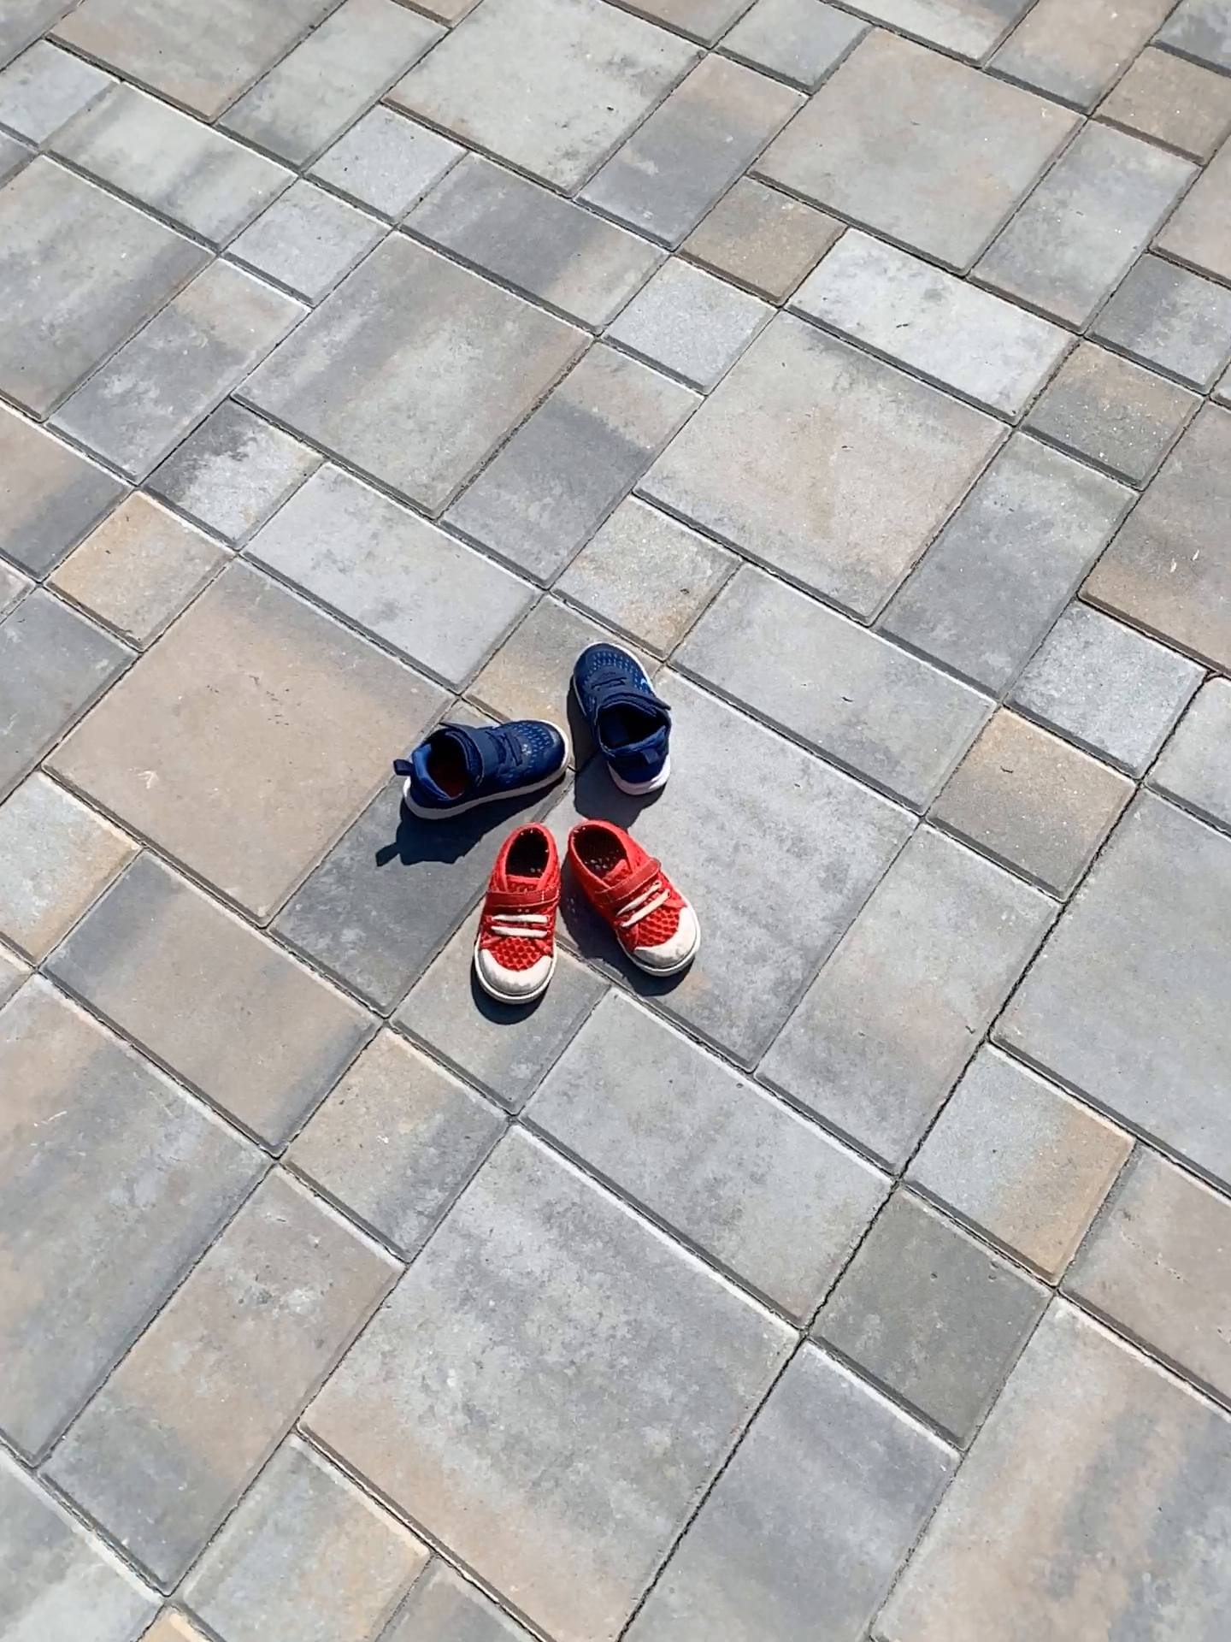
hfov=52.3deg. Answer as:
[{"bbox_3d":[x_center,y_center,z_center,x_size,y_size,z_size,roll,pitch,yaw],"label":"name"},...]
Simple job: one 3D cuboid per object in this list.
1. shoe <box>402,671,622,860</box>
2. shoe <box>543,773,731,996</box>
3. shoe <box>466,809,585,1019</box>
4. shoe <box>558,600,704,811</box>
[{"bbox_3d":[-0.096,-0.052,1.196,0.180,0.090,0.090,-23,69,-7],"label":"shoe"},{"bbox_3d":[0.018,0.056,1.117,0.080,0.070,0.170,-33,71,-10],"label":"shoe"},{"bbox_3d":[-0.078,0.084,1.138,0.080,0.070,0.170,5,69,4],"label":"shoe"},{"bbox_3d":[0.014,-0.110,1.191,0.080,0.070,0.170,-20,69,-6],"label":"shoe"}]
